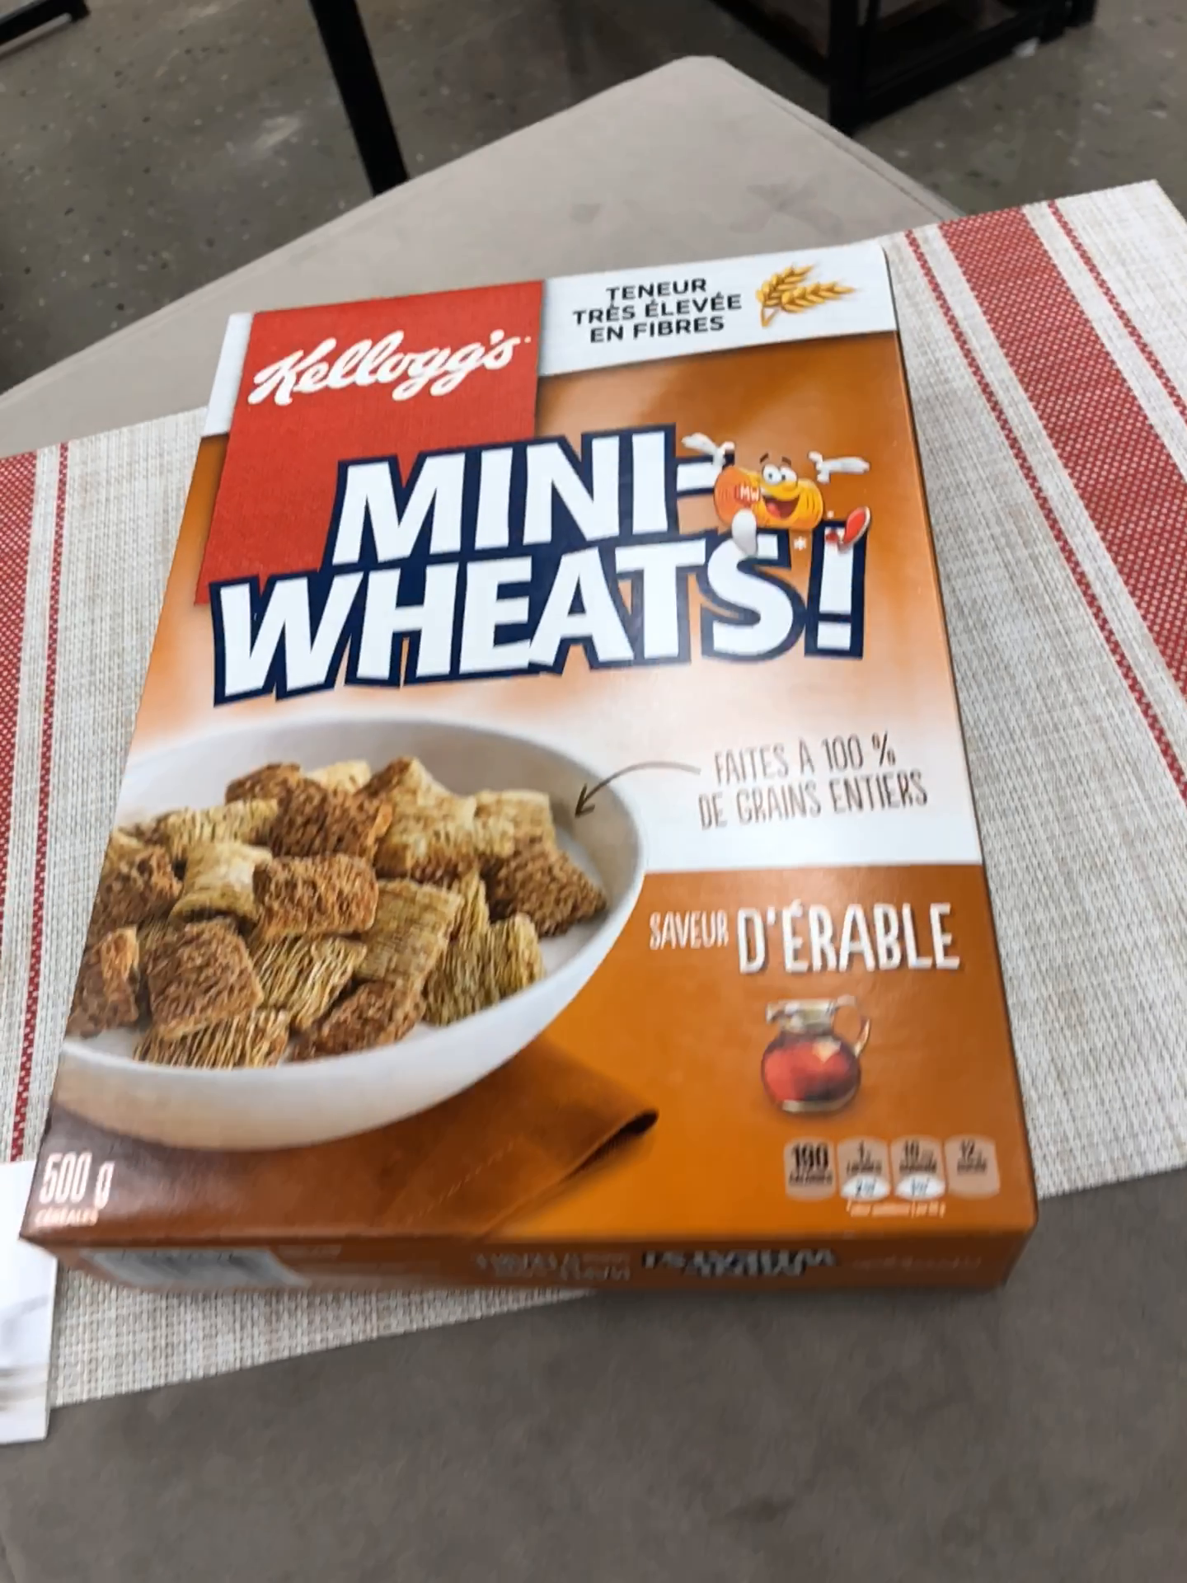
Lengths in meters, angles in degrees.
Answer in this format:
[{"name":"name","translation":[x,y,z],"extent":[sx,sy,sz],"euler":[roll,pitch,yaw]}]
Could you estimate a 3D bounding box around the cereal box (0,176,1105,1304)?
[{"name":"cereal box","translation":[-0.012,-0.026,0.332],"extent":[0.210,0.060,0.280],"euler":[-4,59,8]}]
